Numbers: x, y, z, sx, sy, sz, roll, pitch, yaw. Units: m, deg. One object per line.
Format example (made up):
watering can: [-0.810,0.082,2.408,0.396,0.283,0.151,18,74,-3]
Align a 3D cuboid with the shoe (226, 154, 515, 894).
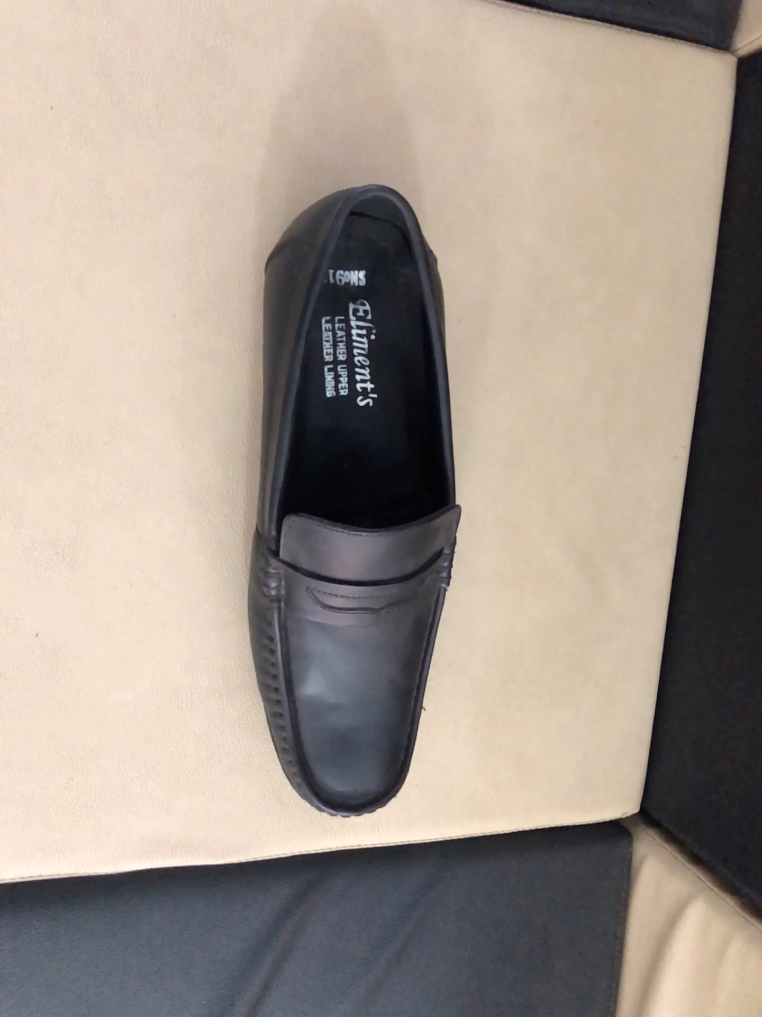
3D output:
shoe: [-0.012,0.009,0.380,0.100,0.080,0.290,0,98,-17]
